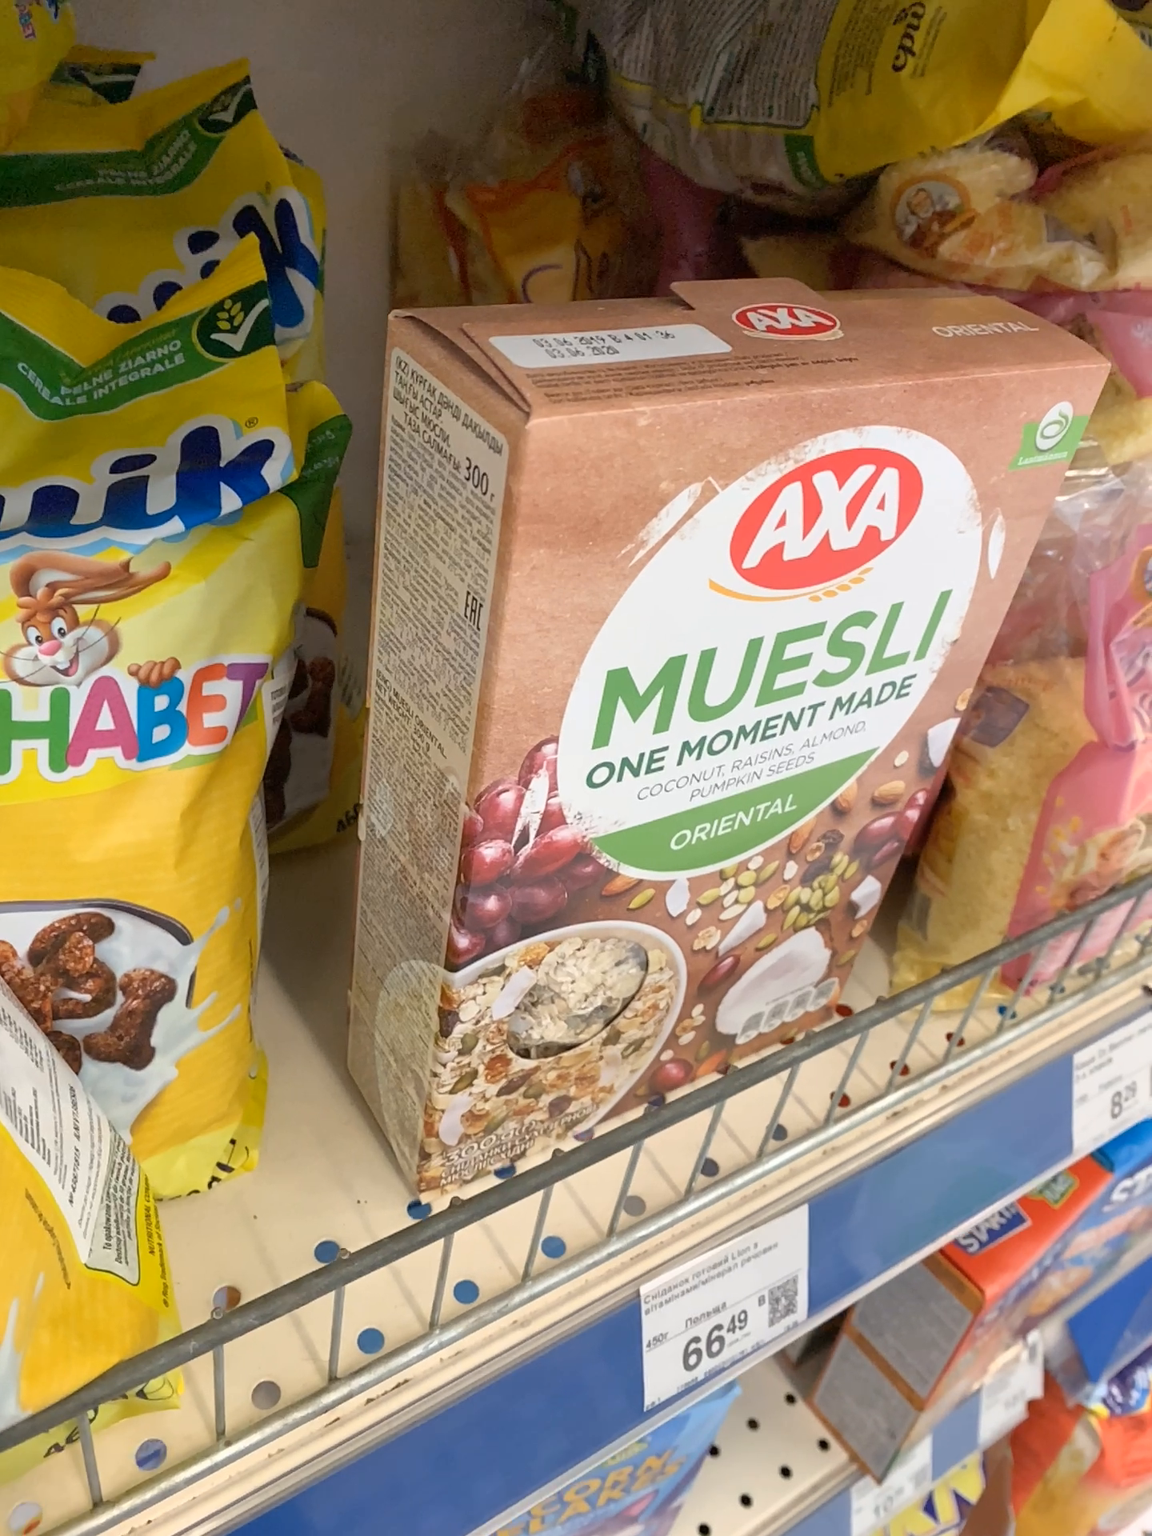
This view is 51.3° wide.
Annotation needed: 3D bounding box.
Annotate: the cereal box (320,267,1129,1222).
[{"bbox_3d":[0.021,0.000,0.293,0.150,0.218,0.050,-15,45,-29],"label":"cereal box"}]
